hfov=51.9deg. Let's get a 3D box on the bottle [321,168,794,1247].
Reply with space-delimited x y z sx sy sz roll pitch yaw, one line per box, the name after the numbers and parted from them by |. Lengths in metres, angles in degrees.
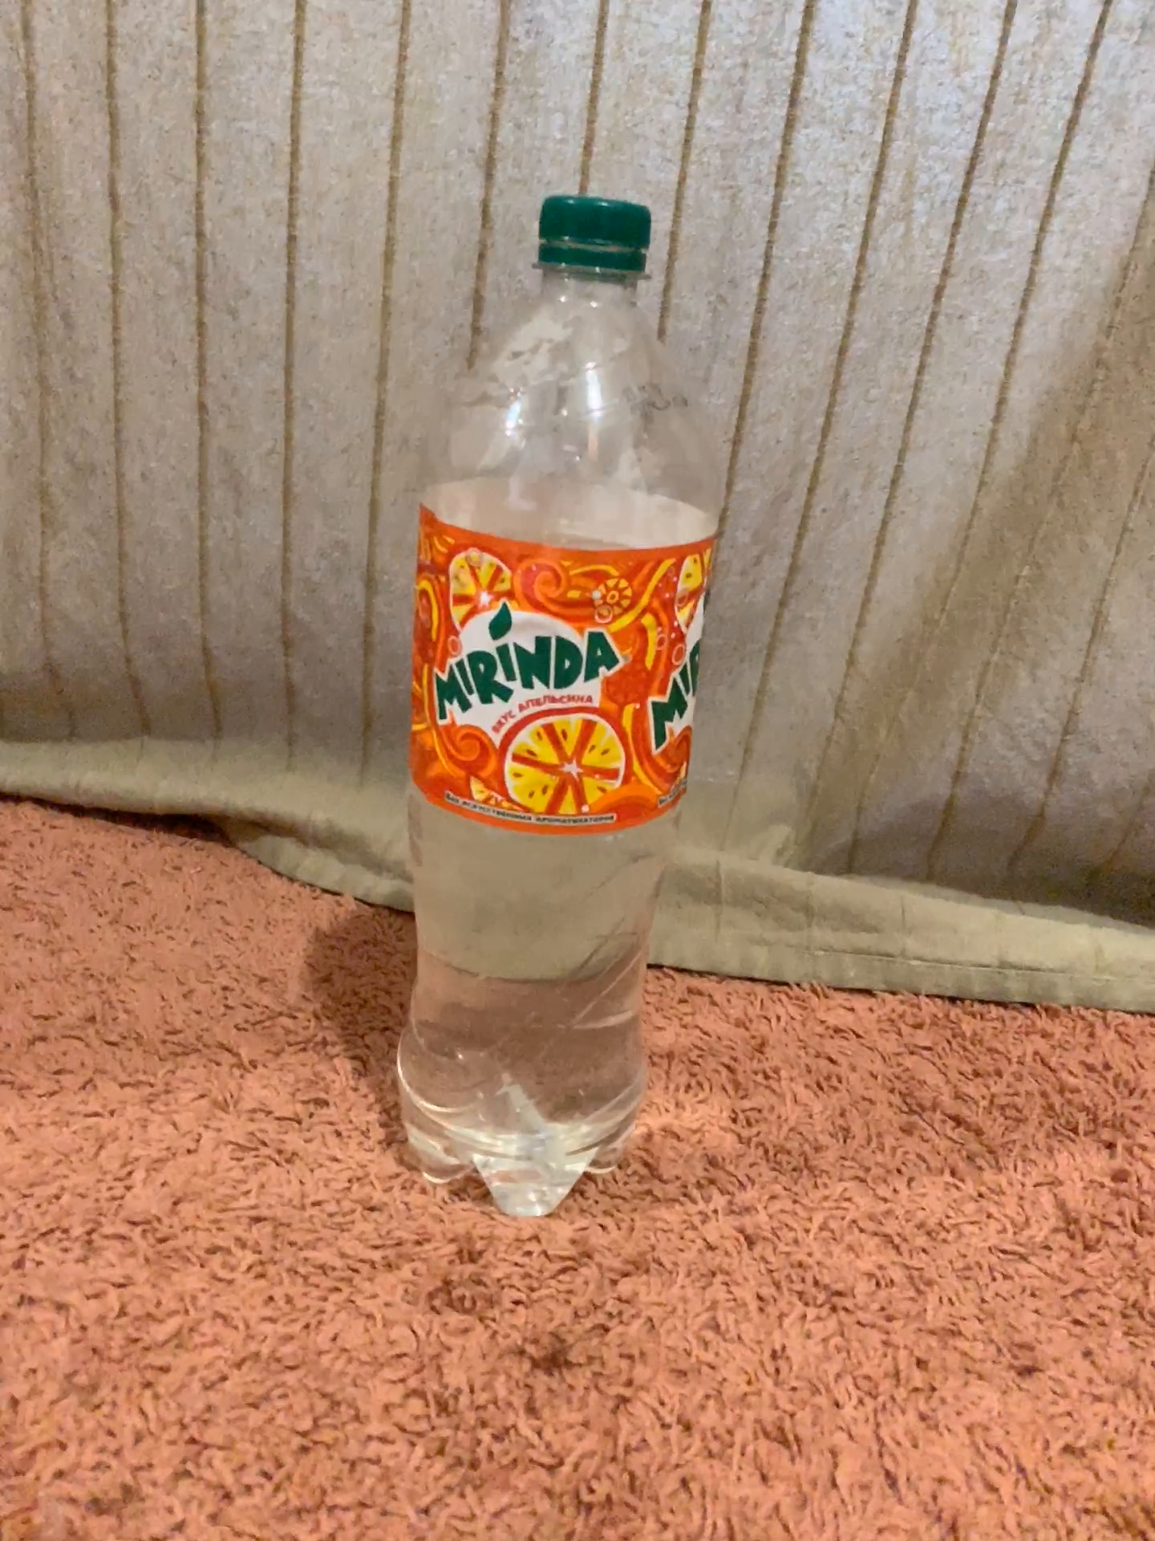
-0.010 -0.014 0.374 0.100 0.298 0.101 6 22 -2 | bottle
